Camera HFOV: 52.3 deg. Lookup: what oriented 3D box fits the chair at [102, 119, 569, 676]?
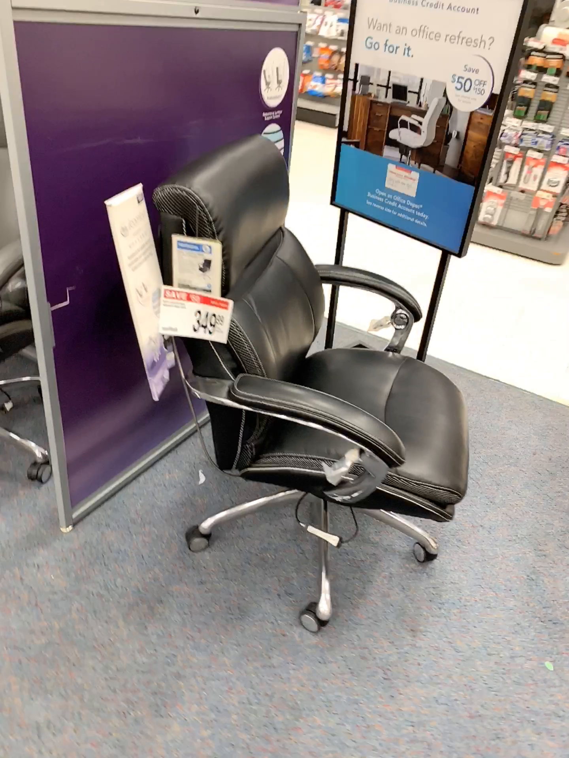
[{"bbox_3d":[0.129,-0.010,1.416,0.781,0.946,0.742,15,34,10],"label":"chair"}]
